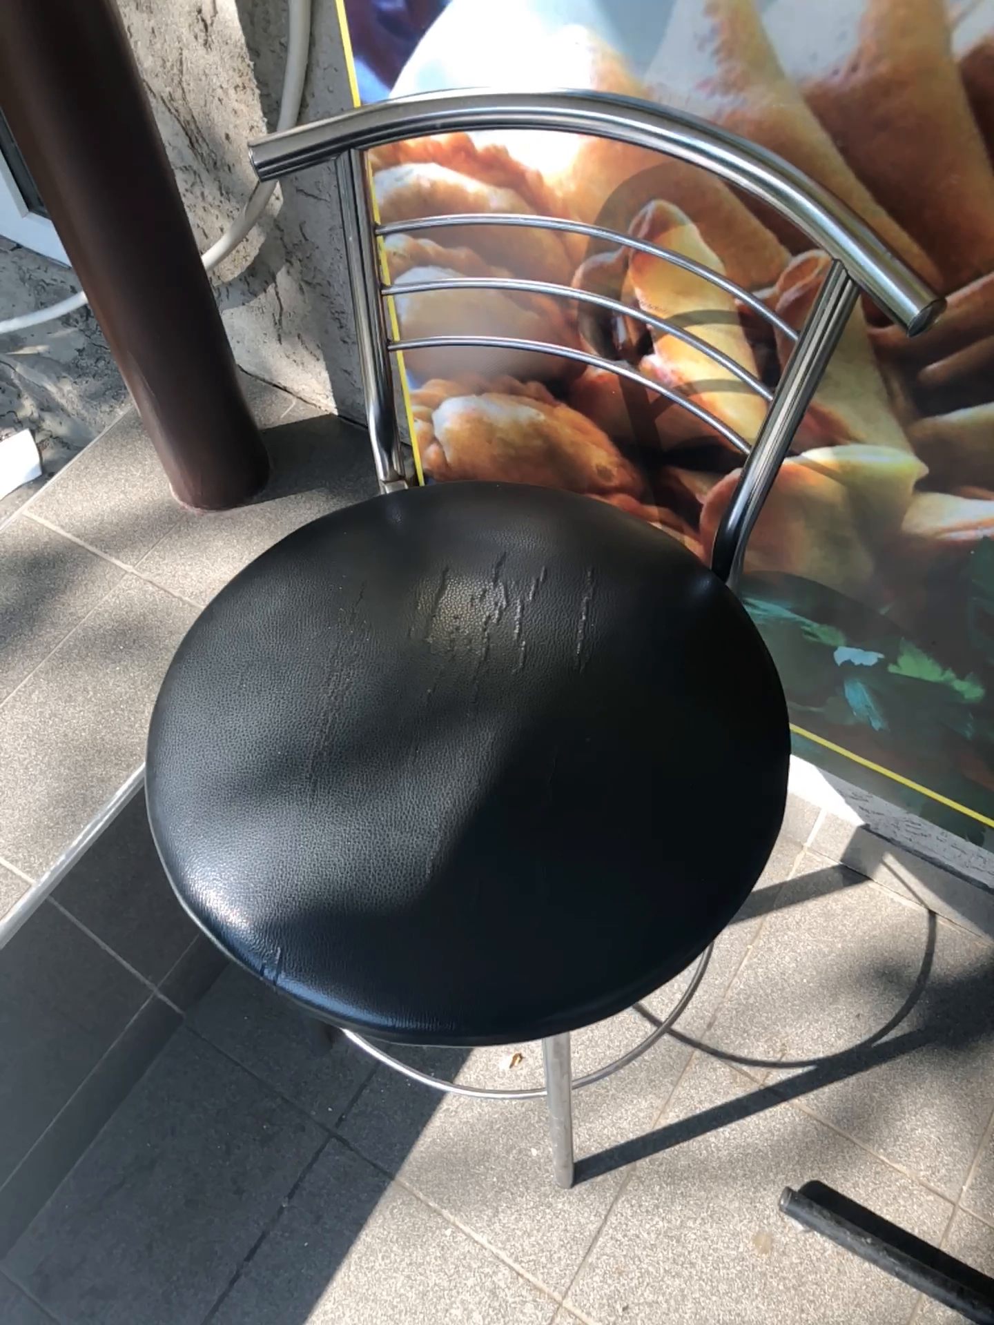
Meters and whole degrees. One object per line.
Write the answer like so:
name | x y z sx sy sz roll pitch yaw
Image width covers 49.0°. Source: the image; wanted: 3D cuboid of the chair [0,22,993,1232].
chair | 0.010 0.121 1.023 0.510 1.097 0.501 13 59 12
